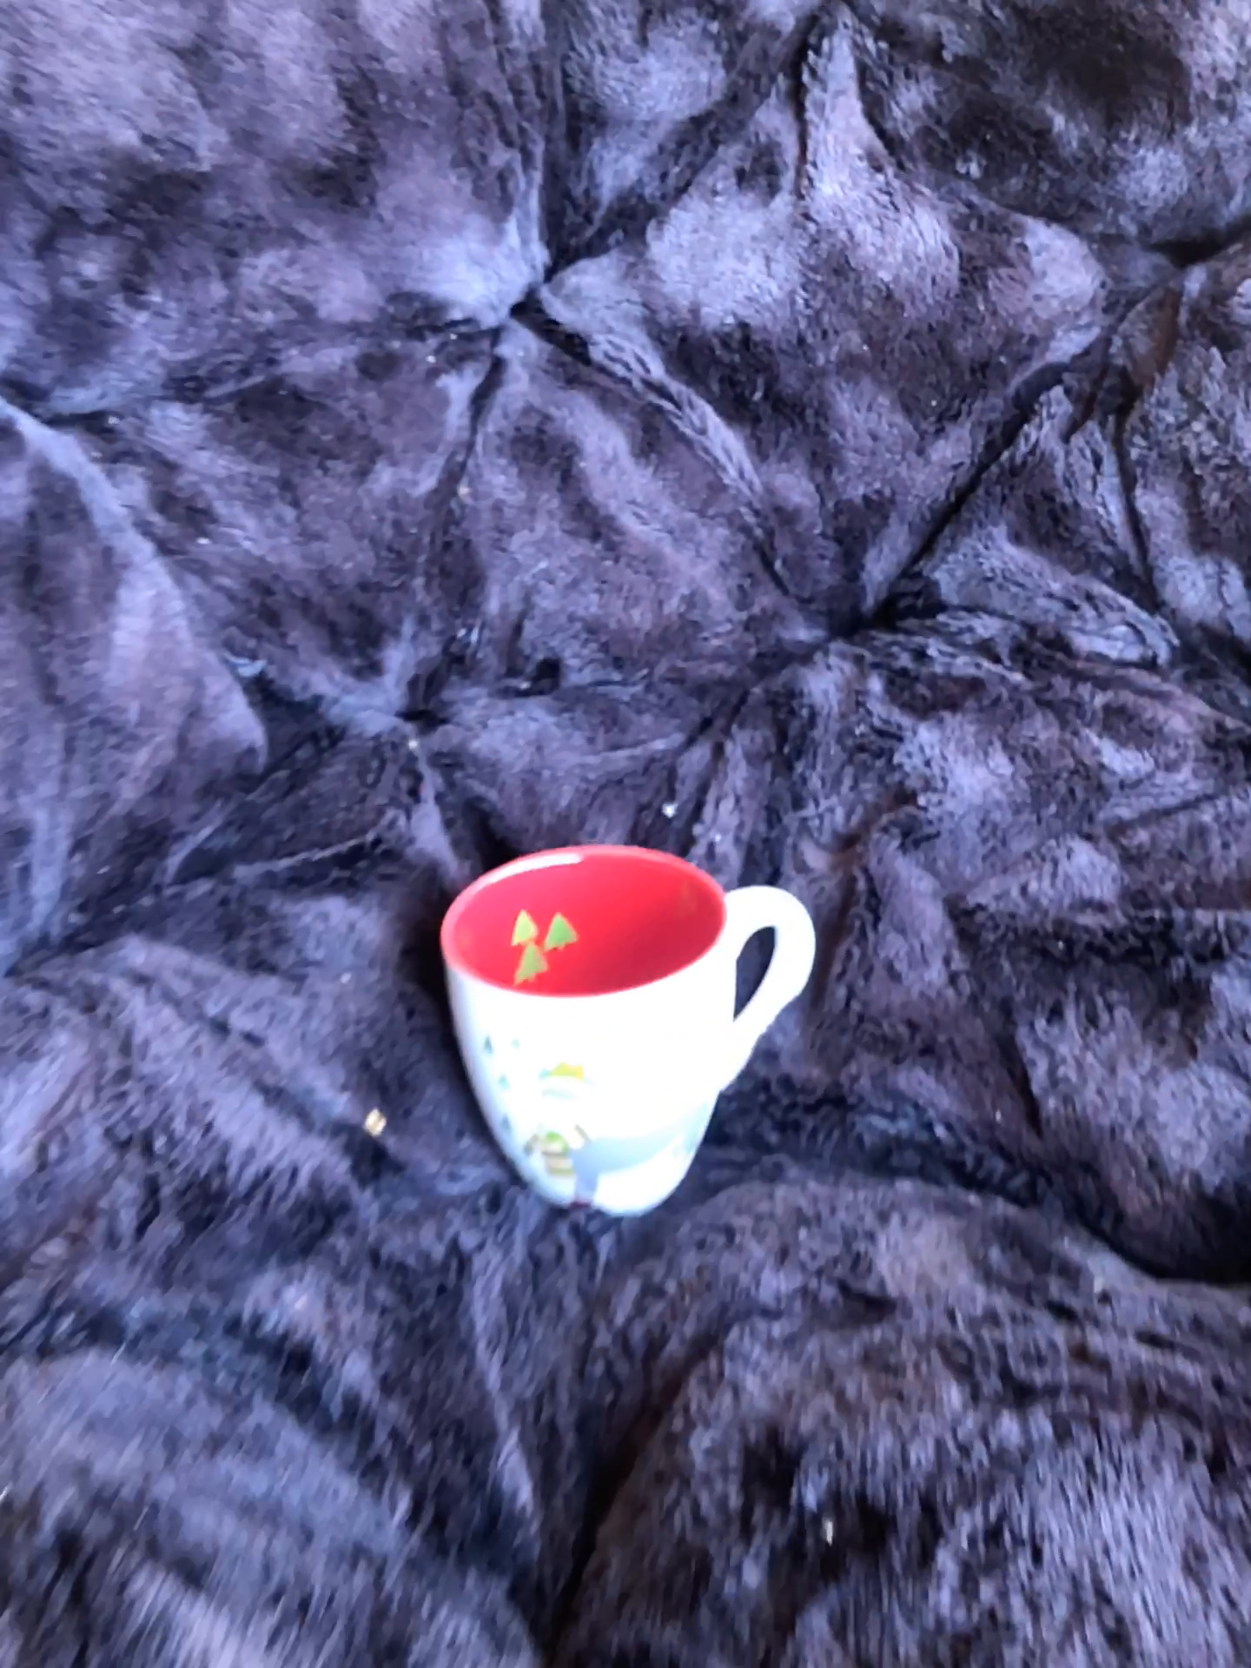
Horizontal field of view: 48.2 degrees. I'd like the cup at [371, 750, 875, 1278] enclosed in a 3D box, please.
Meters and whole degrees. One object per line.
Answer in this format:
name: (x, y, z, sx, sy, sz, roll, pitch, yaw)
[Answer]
cup: (0.000, 0.058, 0.506, 0.140, 0.110, 0.100, -21, 37, -28)
